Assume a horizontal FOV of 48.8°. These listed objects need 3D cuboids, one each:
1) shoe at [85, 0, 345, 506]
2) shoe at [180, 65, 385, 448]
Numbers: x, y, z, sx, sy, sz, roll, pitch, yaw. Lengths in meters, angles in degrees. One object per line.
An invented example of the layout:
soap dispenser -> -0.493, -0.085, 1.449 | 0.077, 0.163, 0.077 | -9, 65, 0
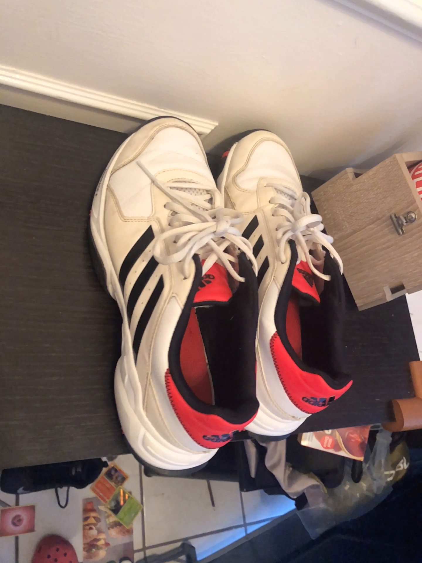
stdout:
shoe -> -0.015, -0.024, 0.334 | 0.110, 0.110, 0.311 | 3, 70, -30
shoe -> 0.050, -0.020, 0.420 | 0.110, 0.100, 0.311 | 7, 68, -29
